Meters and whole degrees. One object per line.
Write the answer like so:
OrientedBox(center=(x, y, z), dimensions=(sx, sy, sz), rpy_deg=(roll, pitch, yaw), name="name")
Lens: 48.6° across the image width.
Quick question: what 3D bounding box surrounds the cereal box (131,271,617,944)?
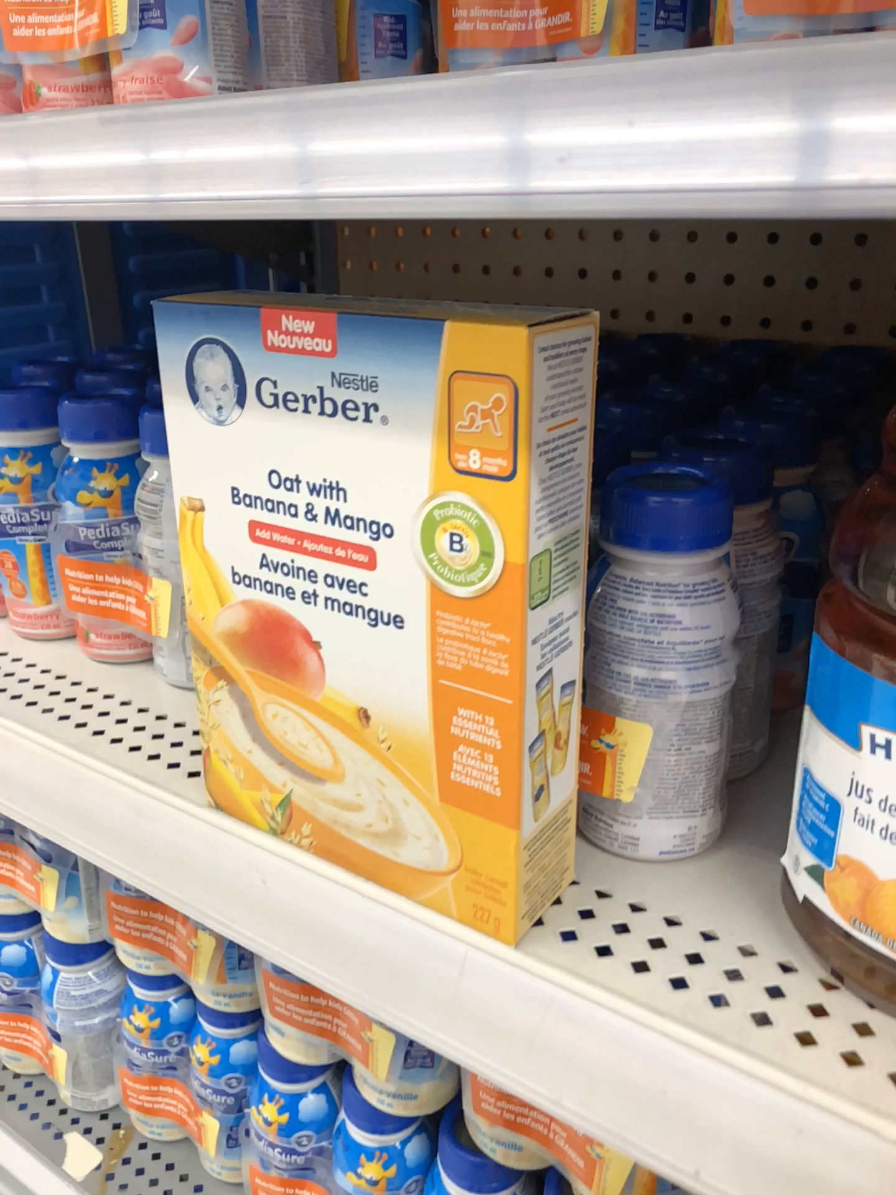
OrientedBox(center=(-0.027, -0.003, 0.326), dimensions=(0.150, 0.189, 0.040), rpy_deg=(15, 27, 32), name="cereal box")
